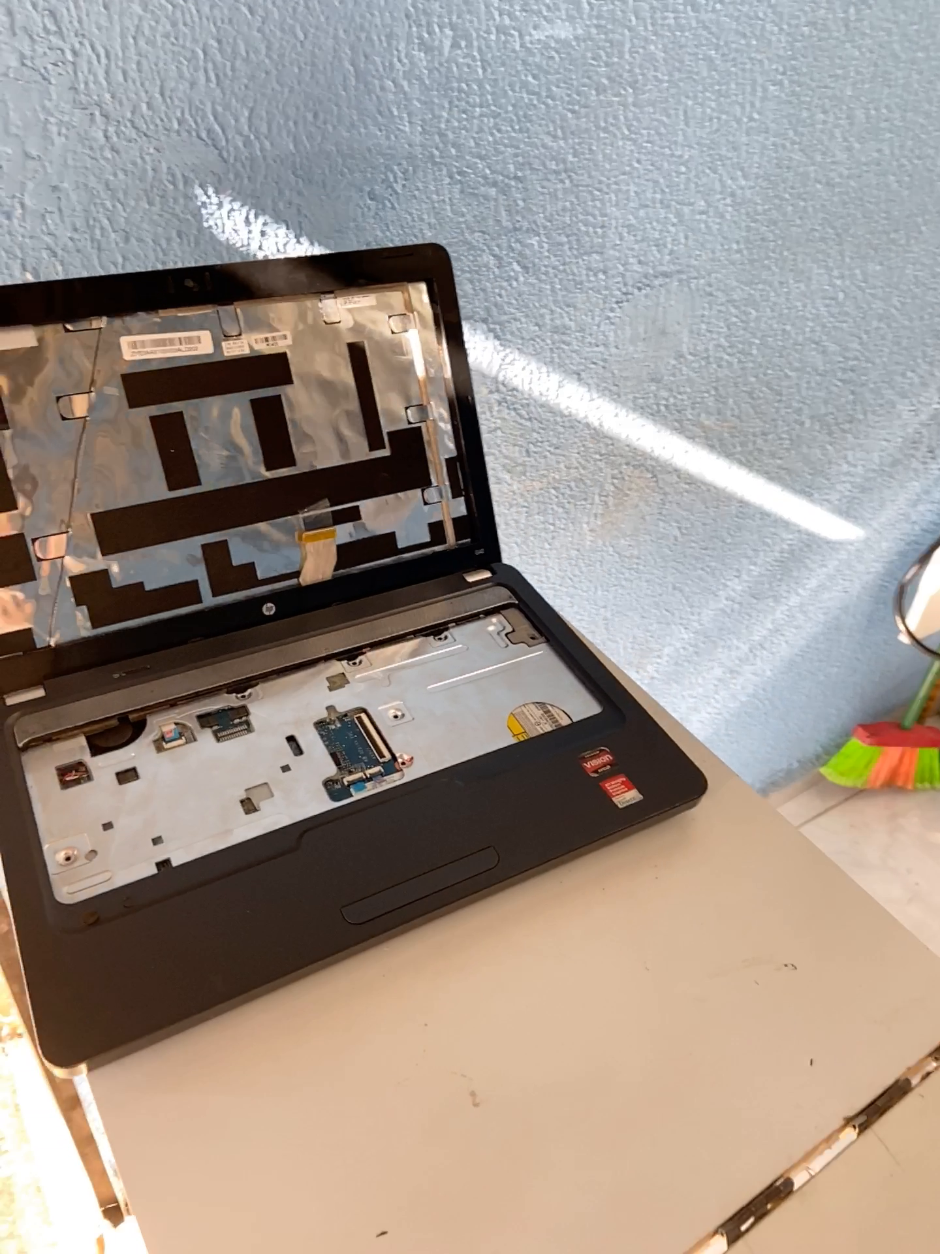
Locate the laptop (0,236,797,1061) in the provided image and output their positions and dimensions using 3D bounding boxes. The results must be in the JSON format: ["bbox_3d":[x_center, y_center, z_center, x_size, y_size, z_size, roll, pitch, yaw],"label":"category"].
[{"bbox_3d":[-0.097,-0.043,0.514,0.339,0.179,0.350,-16,44,-25],"label":"laptop"}]
